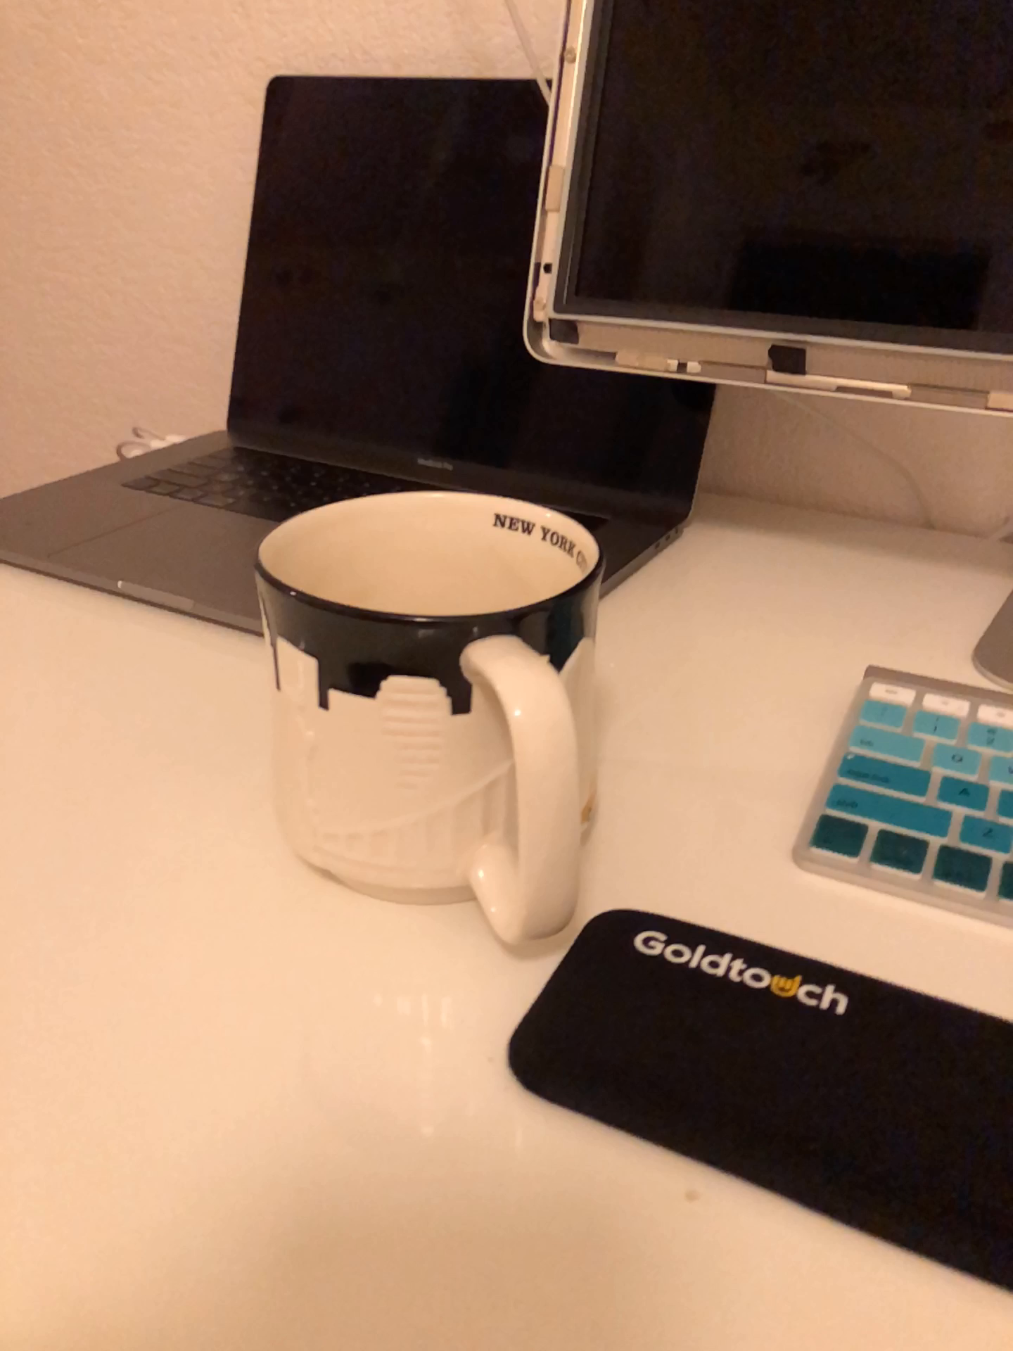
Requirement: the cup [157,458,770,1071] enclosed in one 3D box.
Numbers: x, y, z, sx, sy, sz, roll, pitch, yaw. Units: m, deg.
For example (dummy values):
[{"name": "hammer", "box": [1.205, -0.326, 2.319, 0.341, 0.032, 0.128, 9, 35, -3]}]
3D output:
[{"name": "cup", "box": [-0.024, 0.008, 0.325, 0.110, 0.089, 0.161, -12, 30, -24]}]
